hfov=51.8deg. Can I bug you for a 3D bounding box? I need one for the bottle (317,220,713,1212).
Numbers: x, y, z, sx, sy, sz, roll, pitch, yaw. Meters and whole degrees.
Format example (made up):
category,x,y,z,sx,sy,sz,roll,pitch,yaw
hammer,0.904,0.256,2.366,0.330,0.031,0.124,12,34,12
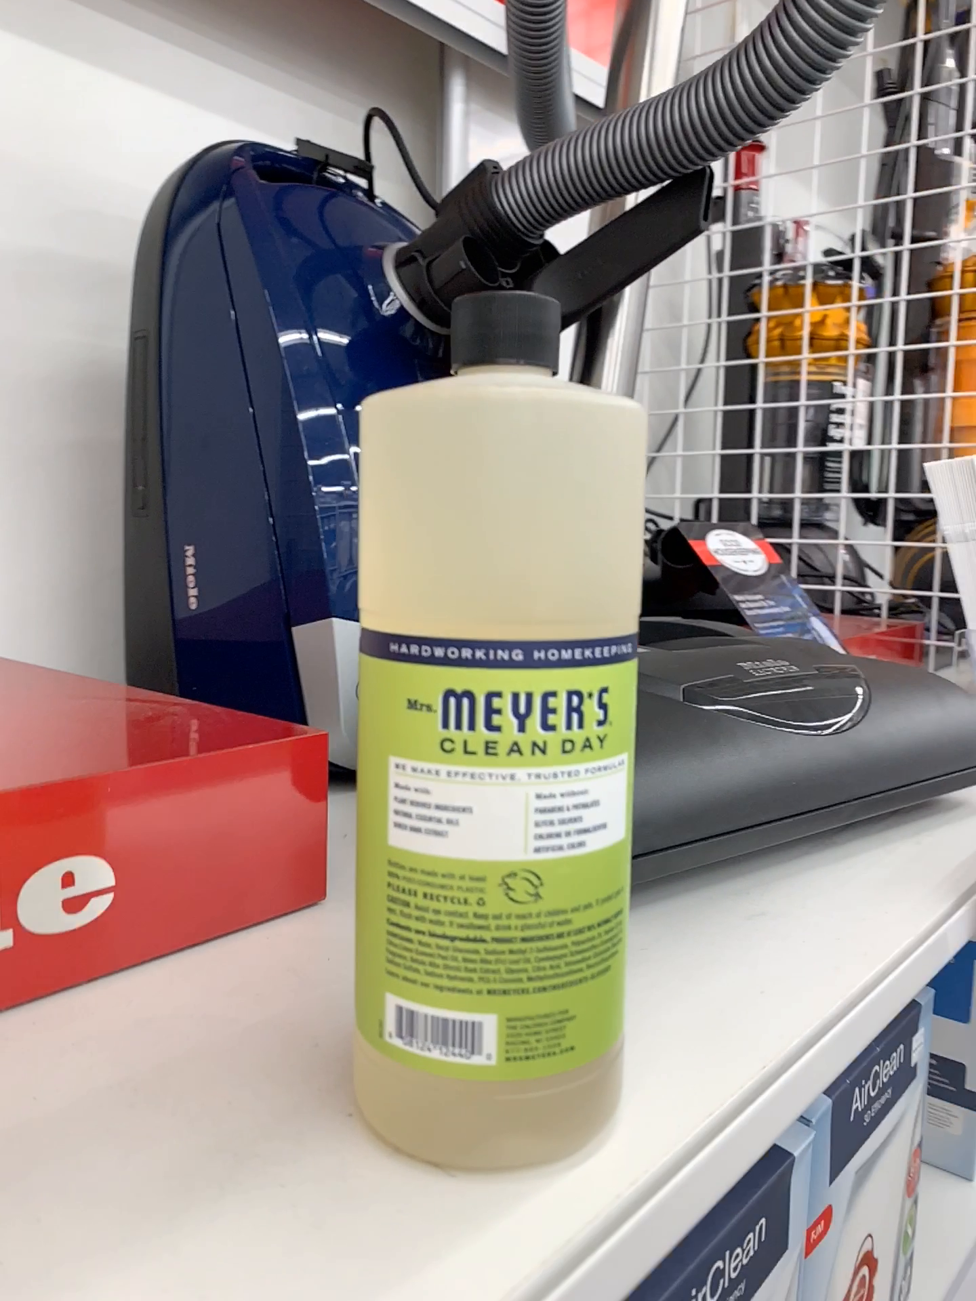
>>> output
category,x,y,z,sx,sy,sz,roll,pitch,yaw
bottle,-0.001,0.016,0.293,0.090,0.240,0.090,1,7,0
